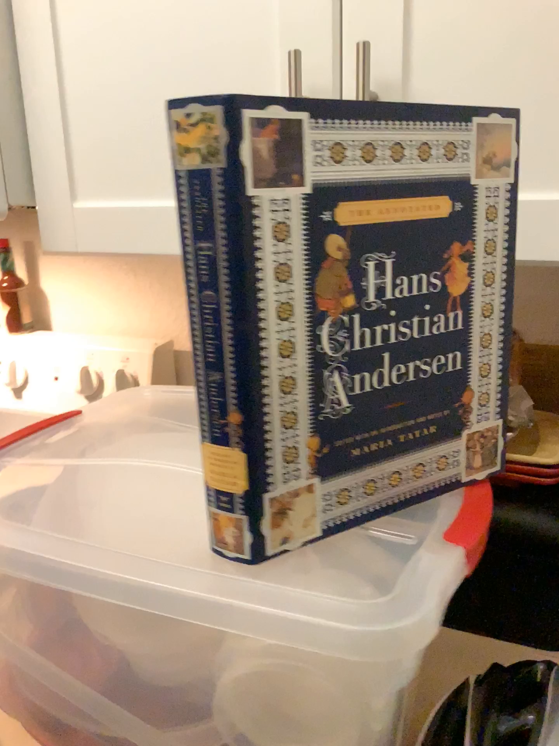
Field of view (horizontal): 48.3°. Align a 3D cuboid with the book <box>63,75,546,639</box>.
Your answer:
[{"bbox_3d":[0.034,-0.037,0.429,0.200,0.260,0.250,11,21,33],"label":"book"}]
